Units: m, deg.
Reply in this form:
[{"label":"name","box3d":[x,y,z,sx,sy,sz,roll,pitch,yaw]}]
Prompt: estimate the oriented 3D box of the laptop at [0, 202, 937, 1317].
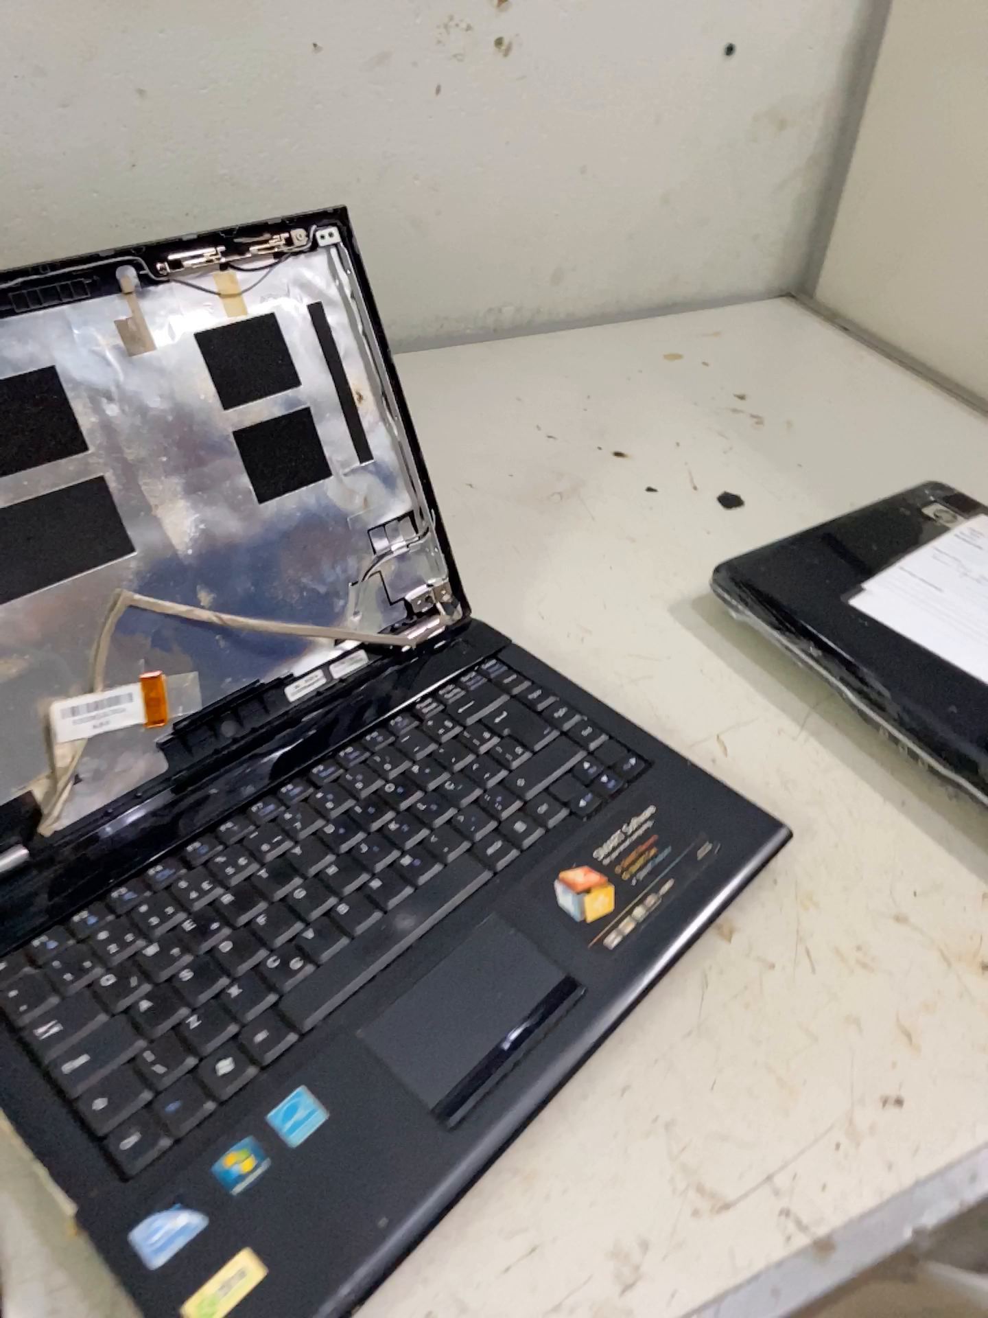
[{"label":"laptop","box3d":[-0.078,-0.005,0.417,0.336,0.205,0.334,34,48,29]}]
